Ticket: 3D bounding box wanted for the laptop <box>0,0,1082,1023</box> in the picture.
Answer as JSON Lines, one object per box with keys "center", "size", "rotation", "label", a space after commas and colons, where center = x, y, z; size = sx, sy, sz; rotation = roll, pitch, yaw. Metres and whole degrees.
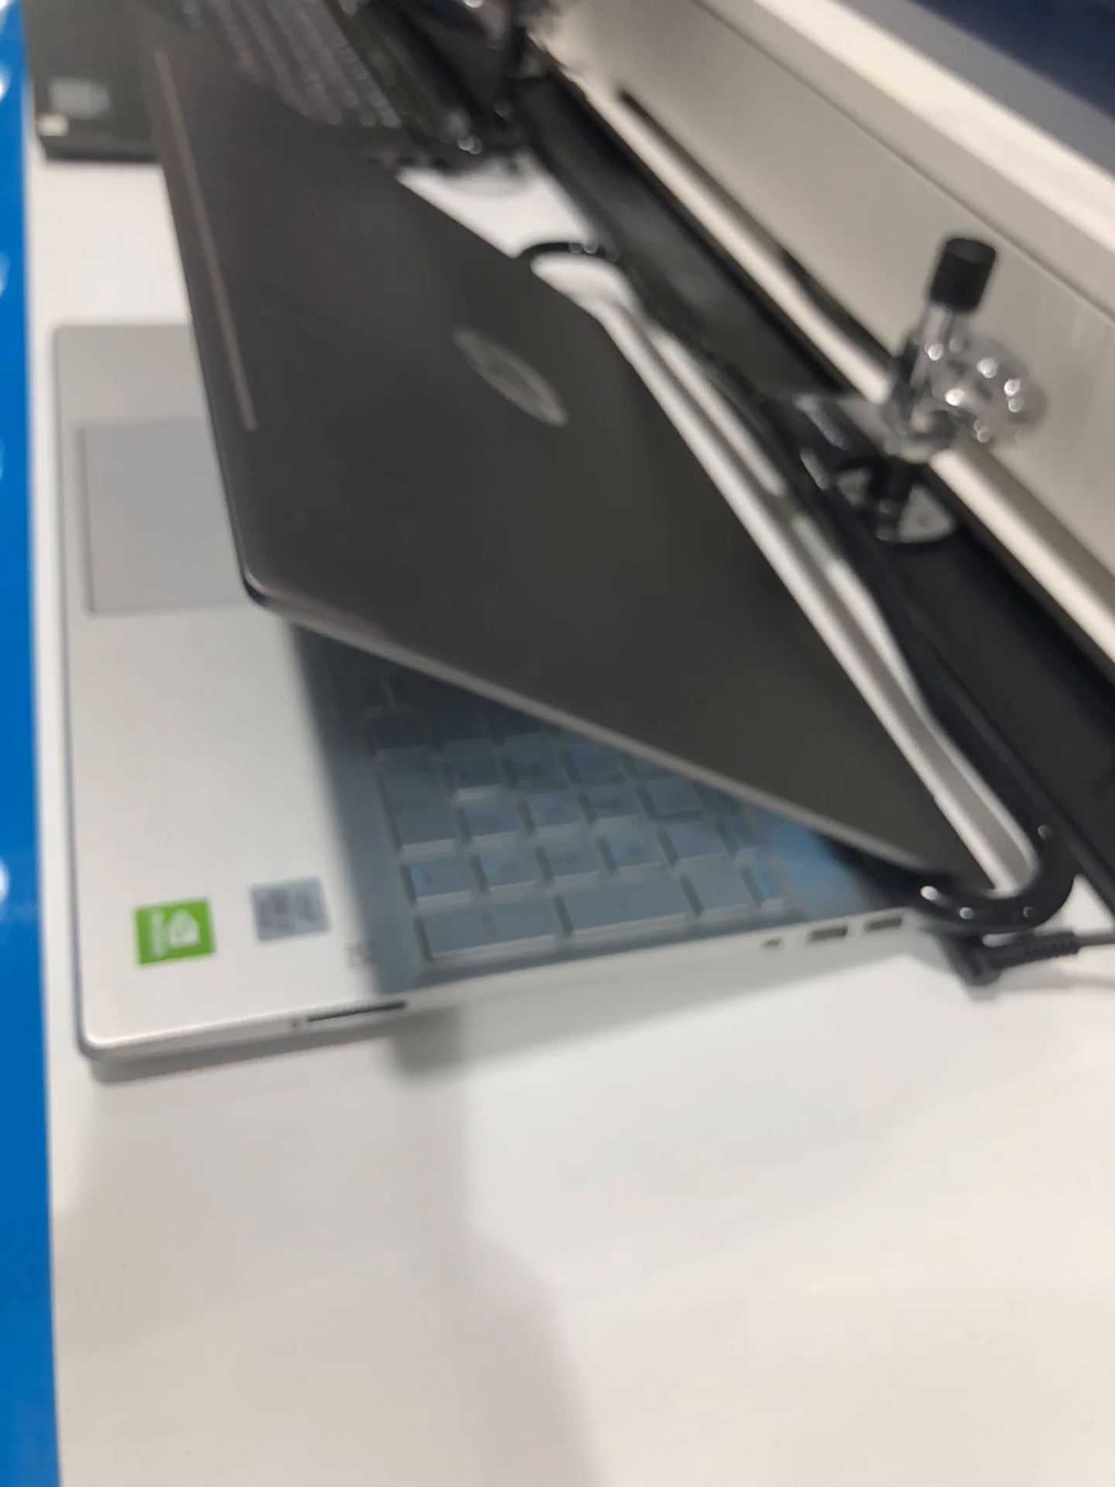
{"center": [-0.047, -0.112, 0.397], "size": [0.215, 0.124, 0.349], "rotation": [-7, 45, -17], "label": "laptop"}
